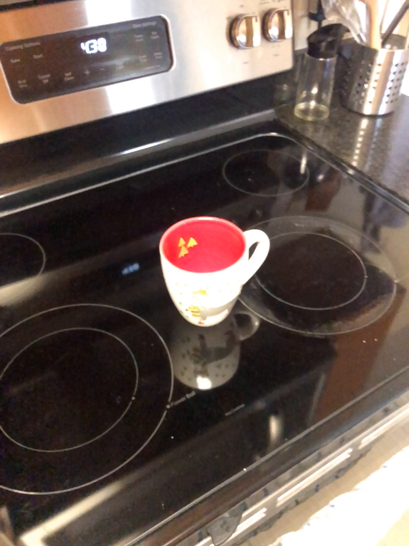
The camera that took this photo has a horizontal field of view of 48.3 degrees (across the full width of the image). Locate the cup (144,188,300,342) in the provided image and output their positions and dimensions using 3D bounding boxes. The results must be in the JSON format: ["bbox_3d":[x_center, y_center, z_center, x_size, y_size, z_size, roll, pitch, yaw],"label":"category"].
[{"bbox_3d":[0.019,-0.013,0.540,0.140,0.100,0.100,-24,49,-23],"label":"cup"}]
